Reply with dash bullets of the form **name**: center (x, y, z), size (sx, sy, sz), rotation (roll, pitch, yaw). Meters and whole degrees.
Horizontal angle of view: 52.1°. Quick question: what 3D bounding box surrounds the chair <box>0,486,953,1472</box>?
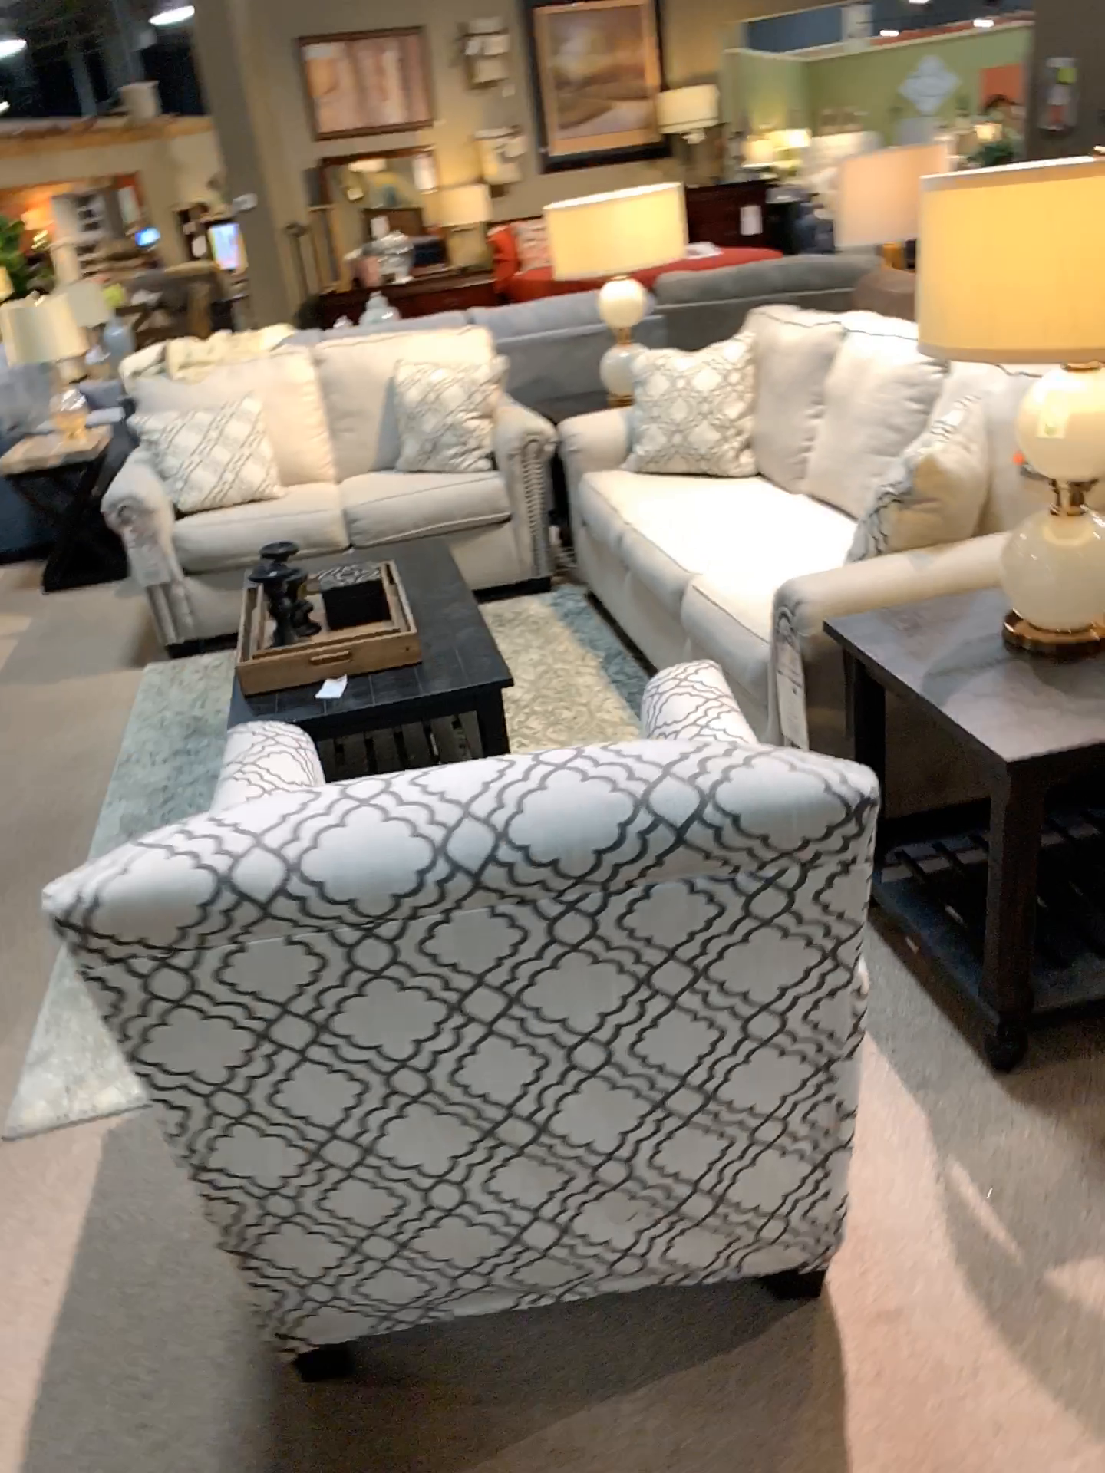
- **chair**: center (-0.089, 0.246, 1.554), size (0.874, 0.847, 0.969), rotation (-9, 26, -2)
